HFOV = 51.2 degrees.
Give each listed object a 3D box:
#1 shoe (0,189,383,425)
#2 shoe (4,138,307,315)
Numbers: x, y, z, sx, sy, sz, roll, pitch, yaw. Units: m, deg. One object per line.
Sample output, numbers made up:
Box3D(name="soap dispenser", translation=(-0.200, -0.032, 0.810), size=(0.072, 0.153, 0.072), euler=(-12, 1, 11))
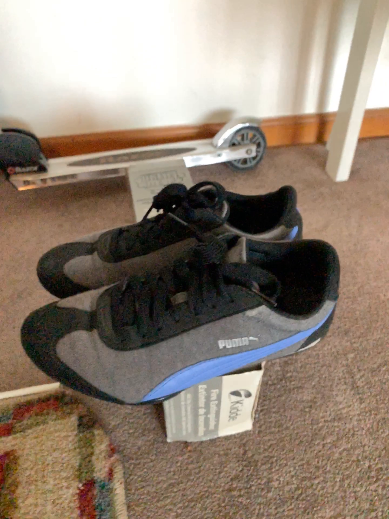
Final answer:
Box3D(name="shoe", translation=(-0.007, 0.030, 0.310), size=(0.240, 0.099, 0.101), euler=(-9, 41, -8))
Box3D(name="shoe", translation=(-0.032, -0.036, 0.373), size=(0.230, 0.089, 0.101), euler=(-9, 41, -8))
